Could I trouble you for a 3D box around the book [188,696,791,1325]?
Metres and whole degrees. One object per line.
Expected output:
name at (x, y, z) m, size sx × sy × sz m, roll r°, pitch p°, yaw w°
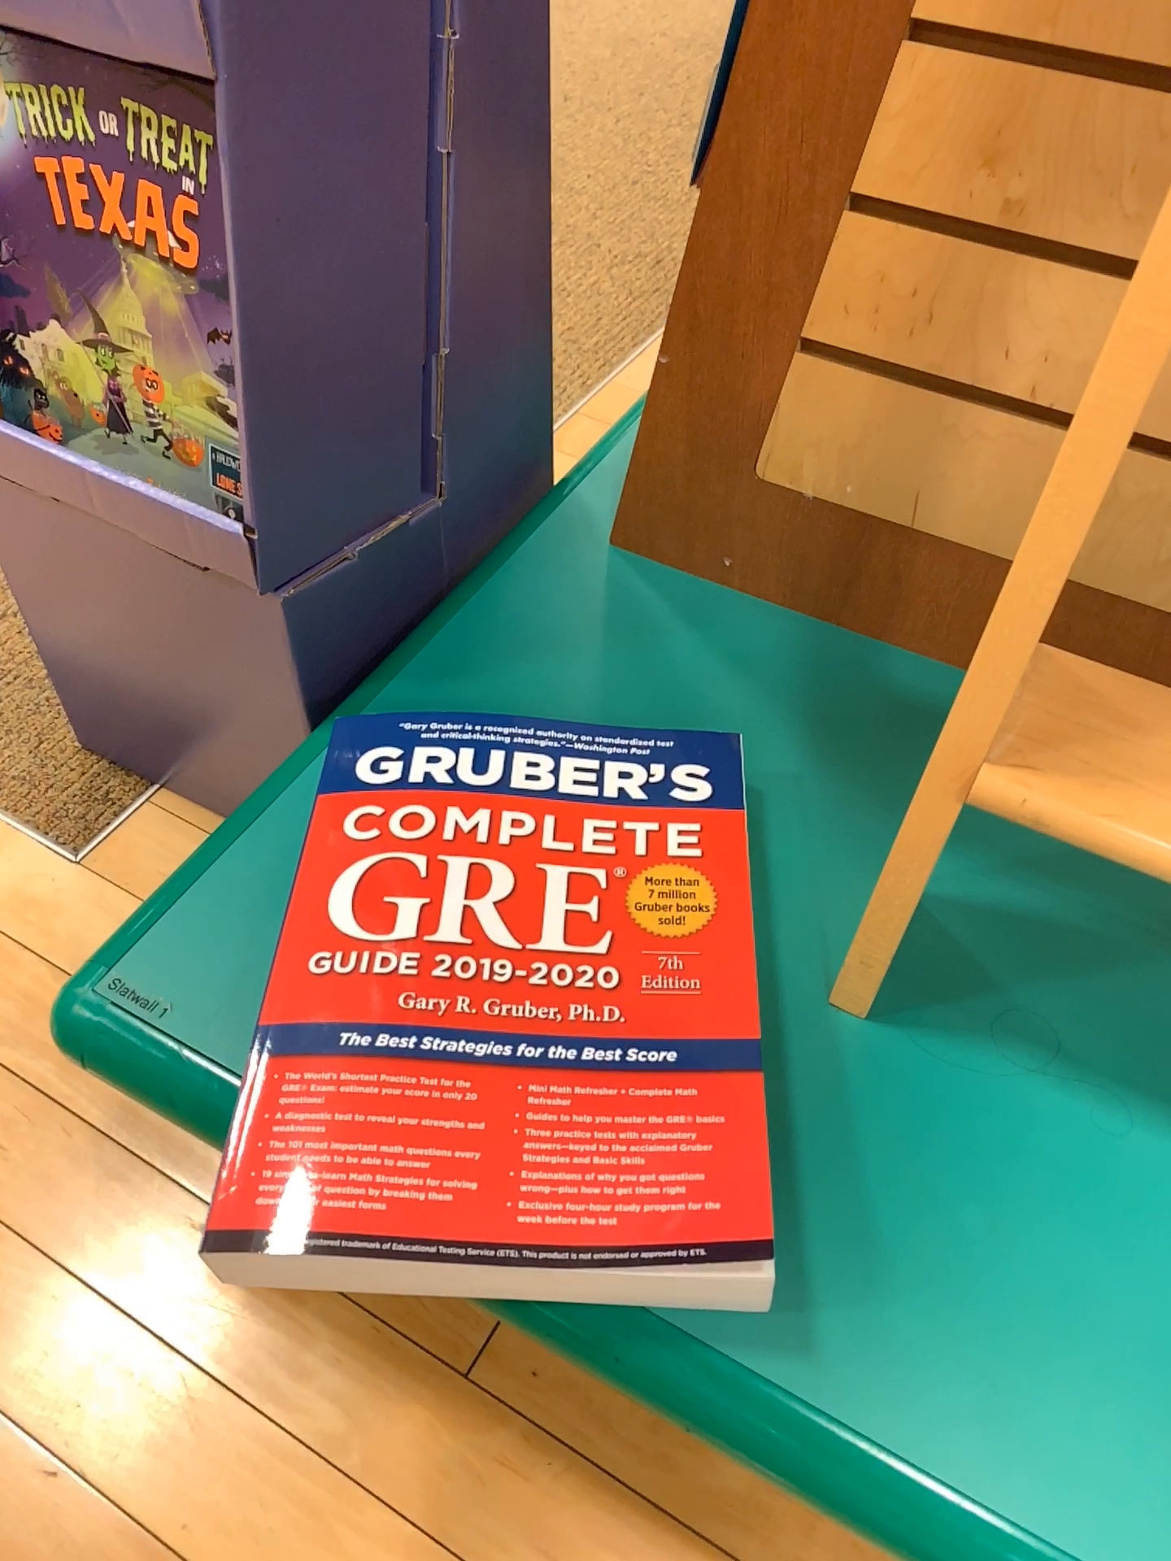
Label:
book at (-0.029, 0.083, 0.546) m, size 0.220 × 0.040 × 0.291 m, roll 3°, pitch 49°, yaw 1°
